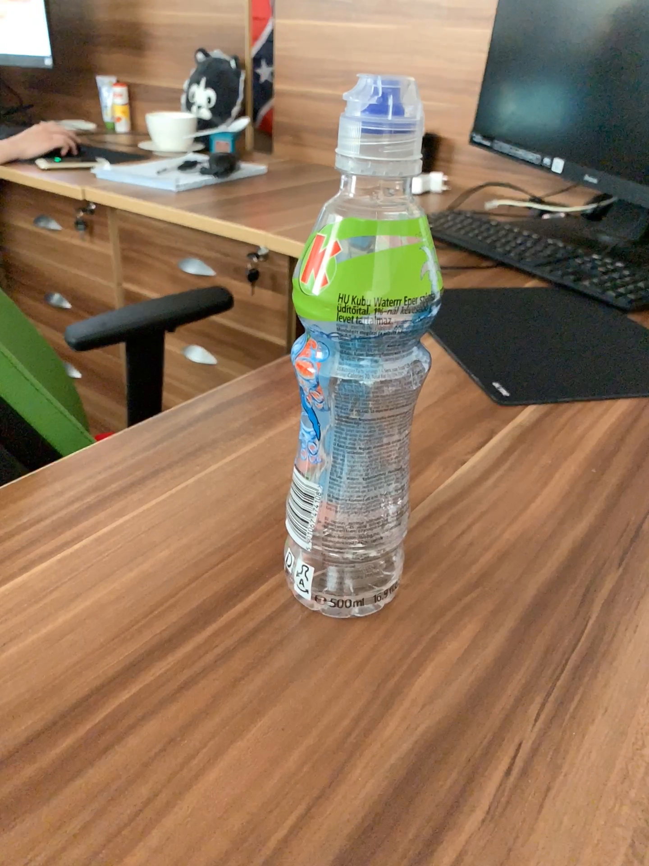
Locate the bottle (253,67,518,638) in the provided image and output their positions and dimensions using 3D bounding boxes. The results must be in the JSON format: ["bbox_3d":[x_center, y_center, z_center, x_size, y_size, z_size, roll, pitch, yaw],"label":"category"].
[{"bbox_3d":[0.014,-0.028,0.307,0.070,0.239,0.070,3,30,-2],"label":"bottle"}]
